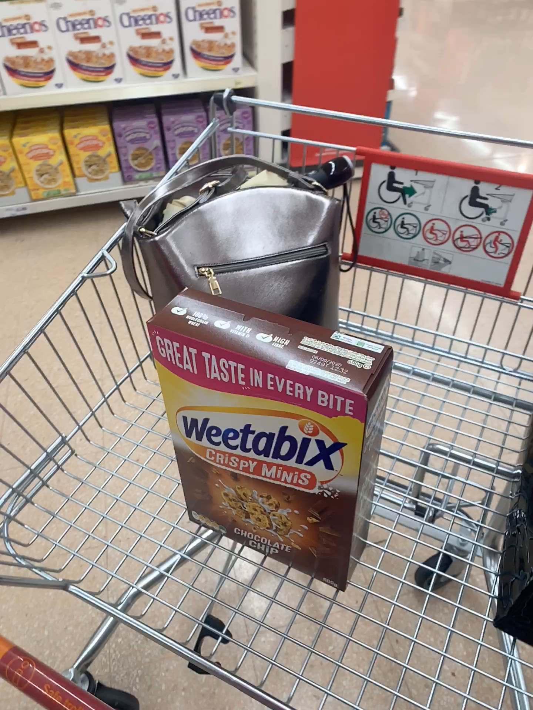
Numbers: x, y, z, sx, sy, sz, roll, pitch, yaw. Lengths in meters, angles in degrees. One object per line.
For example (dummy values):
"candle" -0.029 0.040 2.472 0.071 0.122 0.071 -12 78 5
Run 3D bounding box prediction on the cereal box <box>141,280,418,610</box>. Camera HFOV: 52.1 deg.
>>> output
"cereal box" 0.009 0.105 0.543 0.210 0.327 0.071 18 45 20
